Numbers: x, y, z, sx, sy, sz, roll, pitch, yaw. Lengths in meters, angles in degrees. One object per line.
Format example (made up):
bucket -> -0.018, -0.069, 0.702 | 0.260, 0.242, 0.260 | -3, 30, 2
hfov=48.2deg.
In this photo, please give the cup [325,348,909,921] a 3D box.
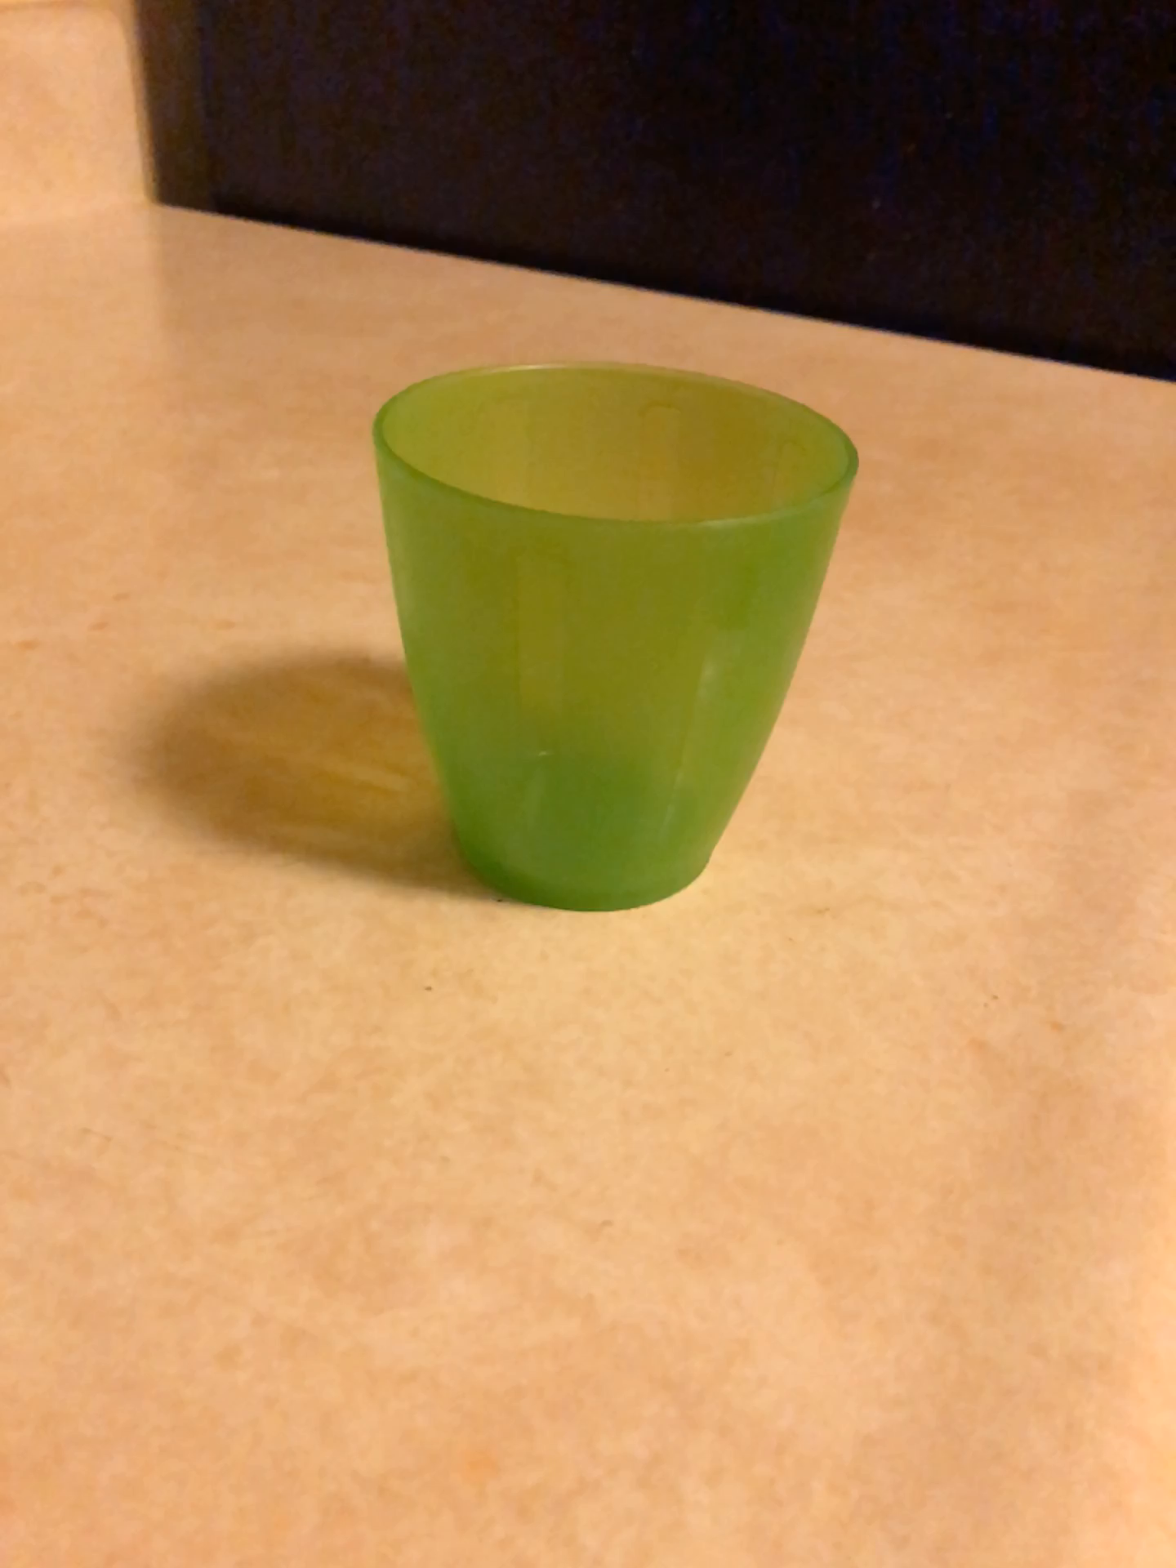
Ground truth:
cup -> -0.001, -0.029, 0.231 | 0.080, 0.070, 0.080 | 3, 32, -2
